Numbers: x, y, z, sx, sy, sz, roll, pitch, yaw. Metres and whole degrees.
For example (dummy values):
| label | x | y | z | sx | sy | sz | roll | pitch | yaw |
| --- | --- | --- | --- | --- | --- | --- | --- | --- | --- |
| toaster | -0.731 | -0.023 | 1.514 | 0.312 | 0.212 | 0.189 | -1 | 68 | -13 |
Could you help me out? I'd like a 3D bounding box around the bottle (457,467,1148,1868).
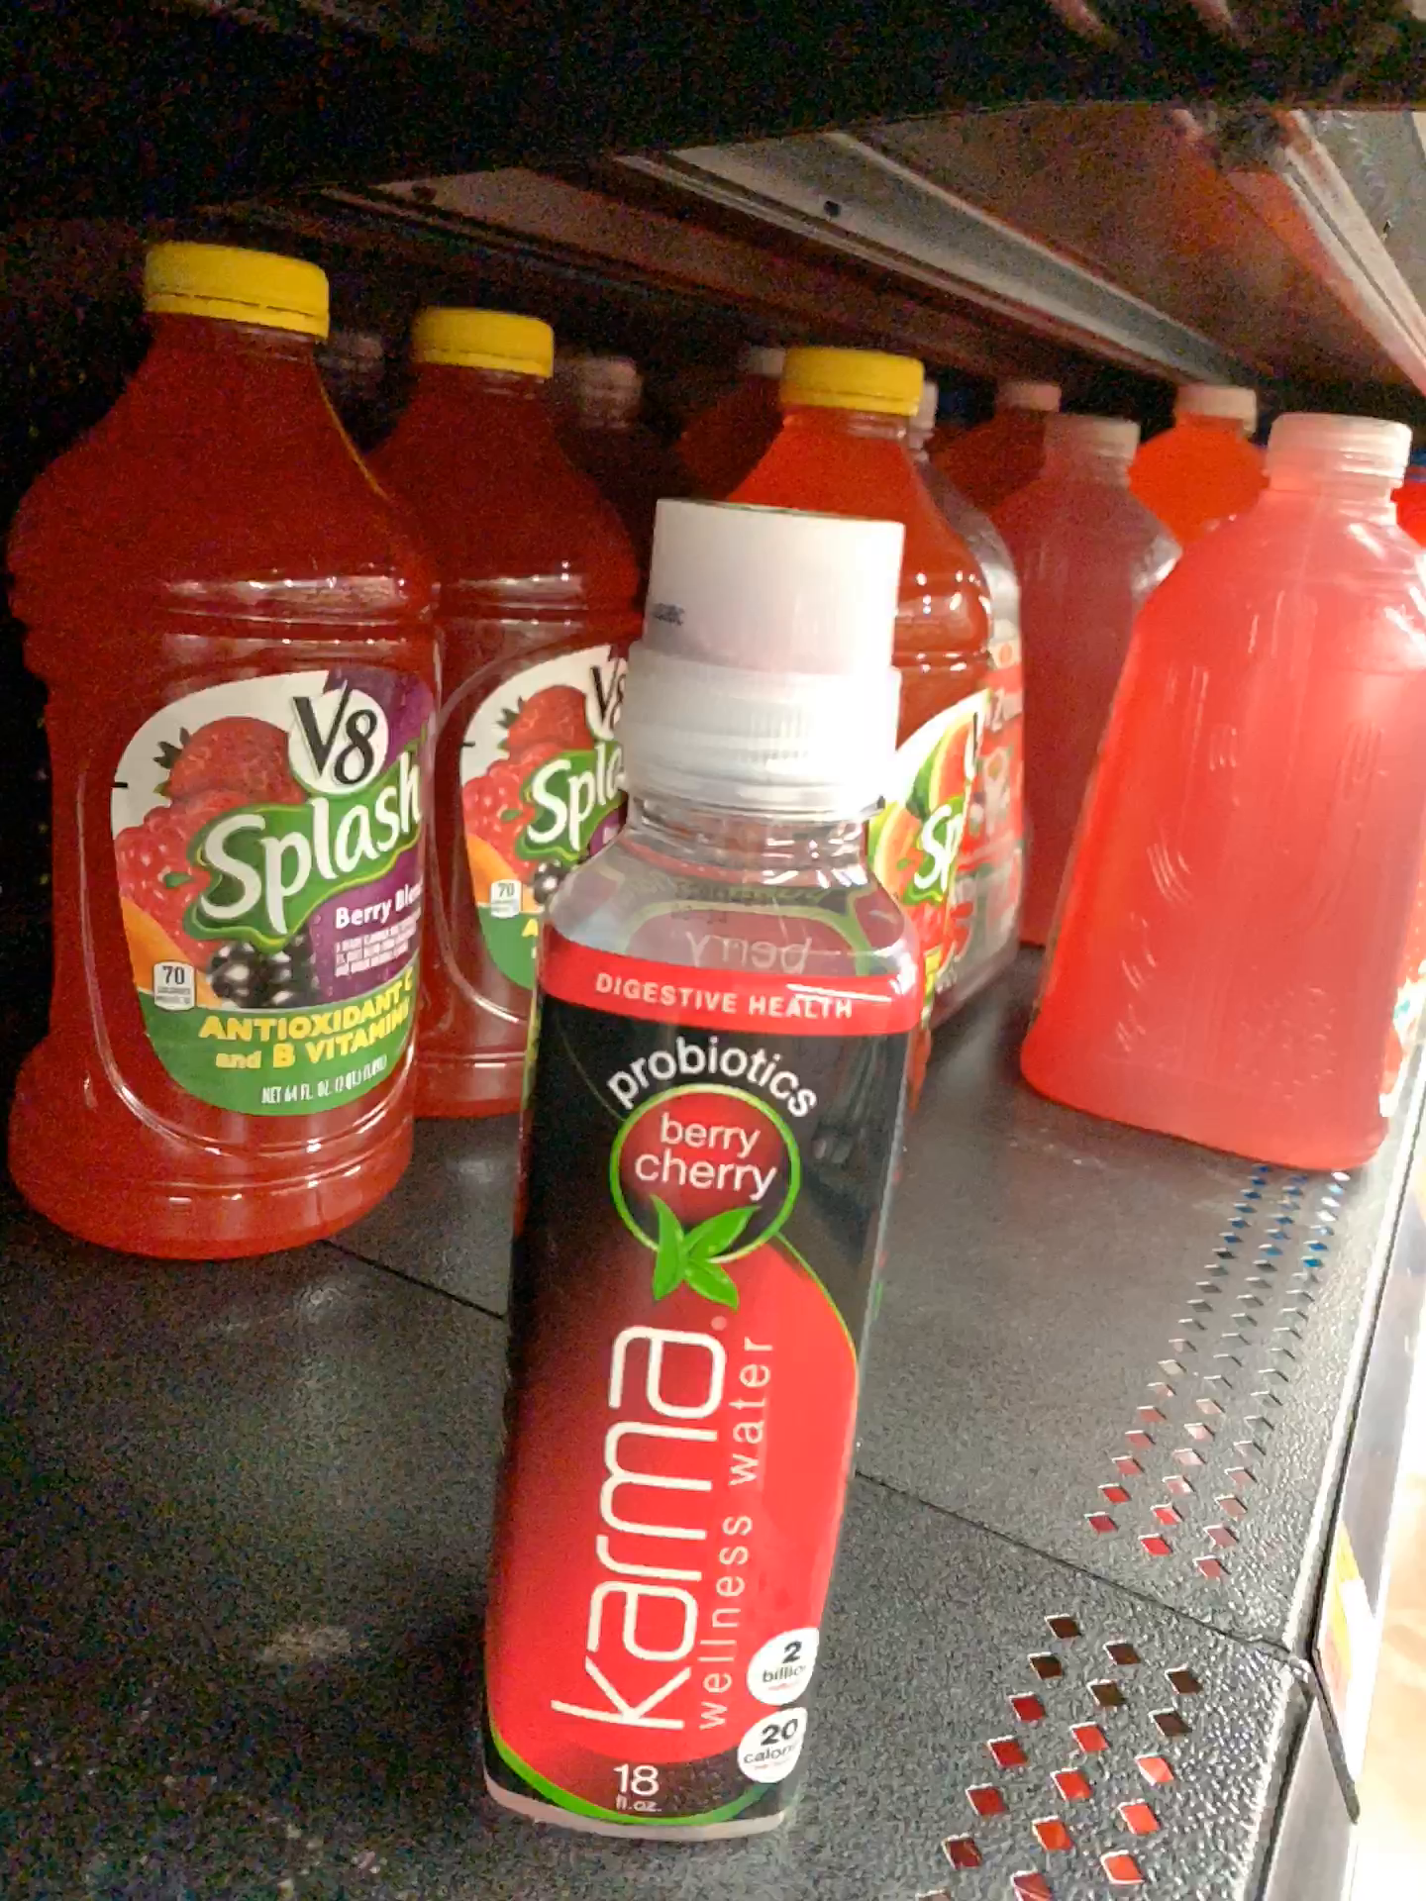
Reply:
| label | x | y | z | sx | sy | sz | roll | pitch | yaw |
| --- | --- | --- | --- | --- | --- | --- | --- | --- | --- |
| bottle | 0.006 | 0.036 | 0.240 | 0.068 | 0.209 | 0.070 | 6 | 19 | -2 |
